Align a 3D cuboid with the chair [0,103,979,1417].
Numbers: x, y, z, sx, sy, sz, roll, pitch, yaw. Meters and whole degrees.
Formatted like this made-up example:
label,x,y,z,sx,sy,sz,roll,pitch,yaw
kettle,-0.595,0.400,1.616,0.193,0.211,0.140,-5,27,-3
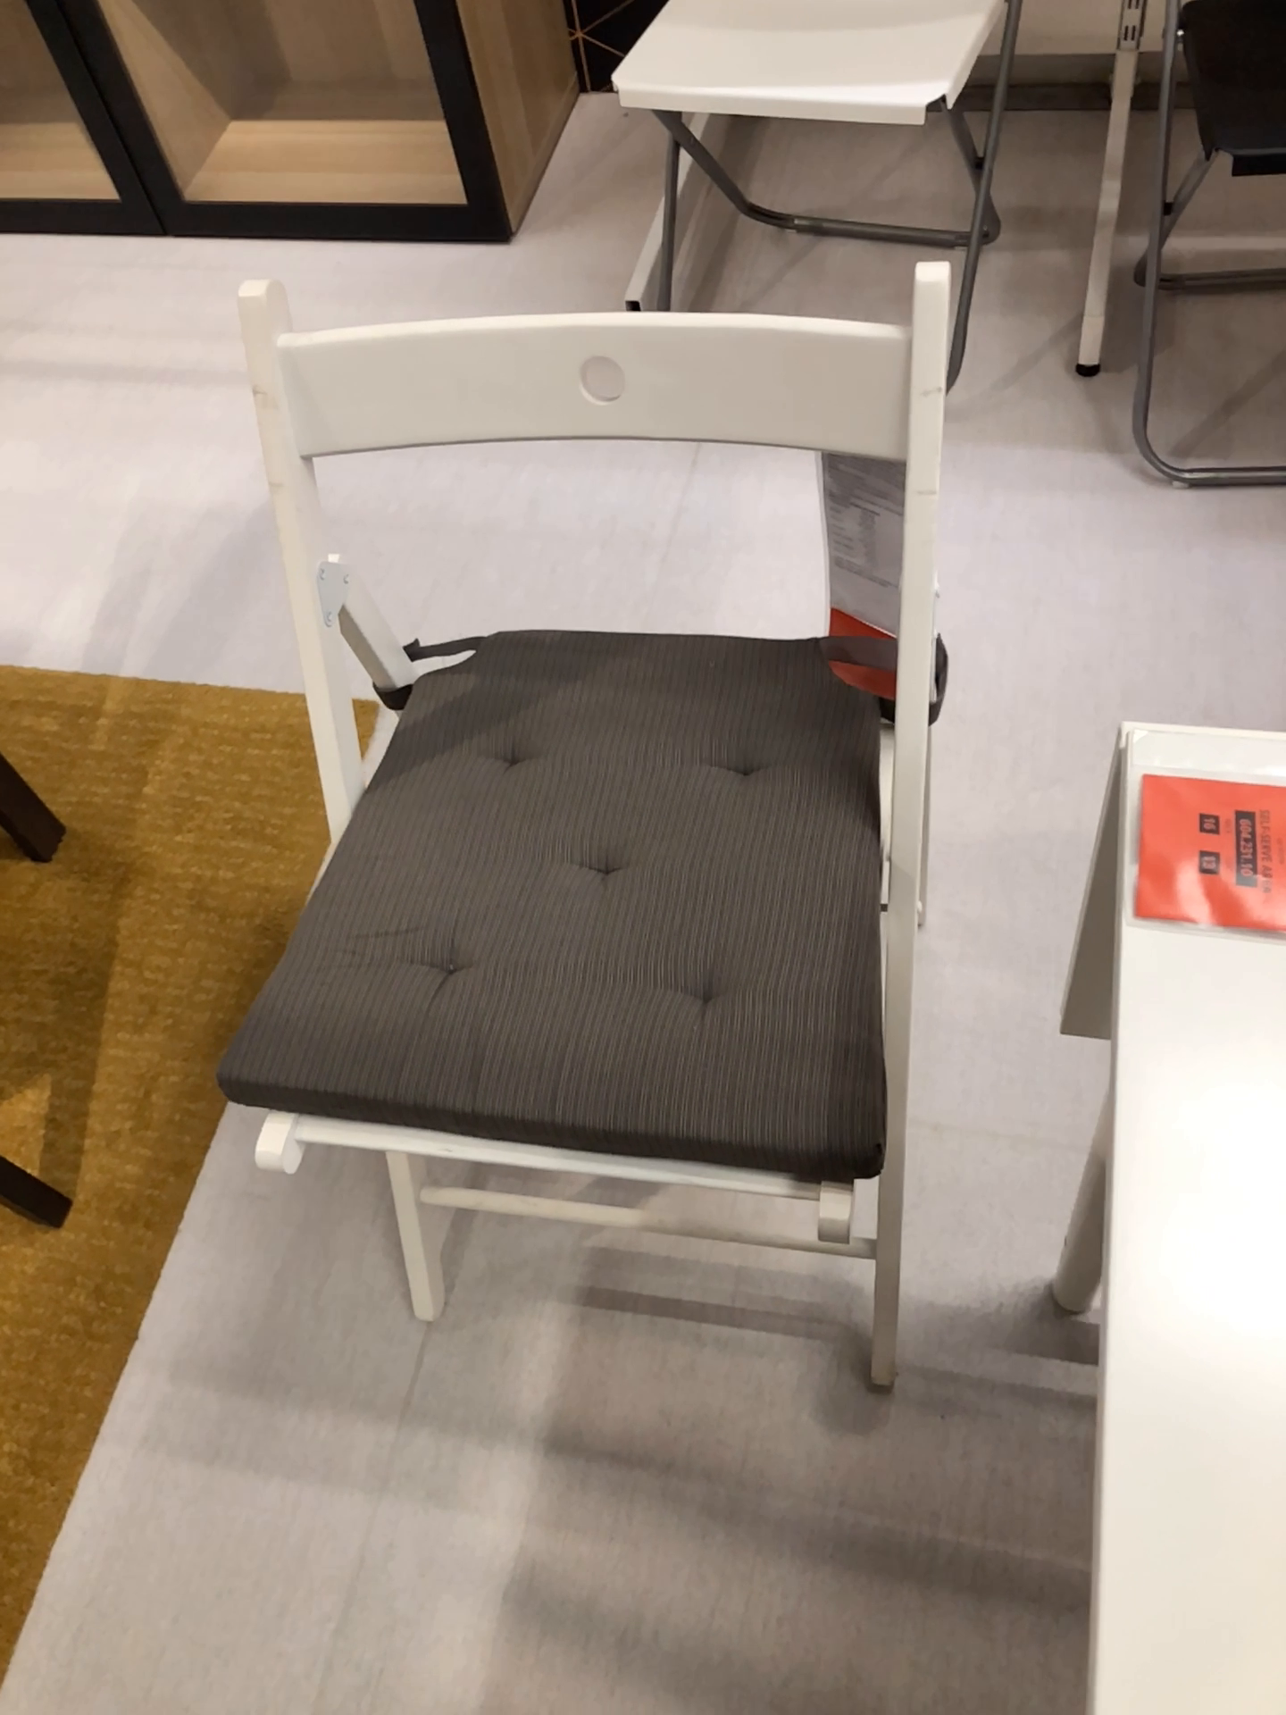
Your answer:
label,x,y,z,sx,sy,sz,roll,pitch,yaw
chair,-0.045,0.006,0.885,0.440,0.696,0.452,4,58,13
